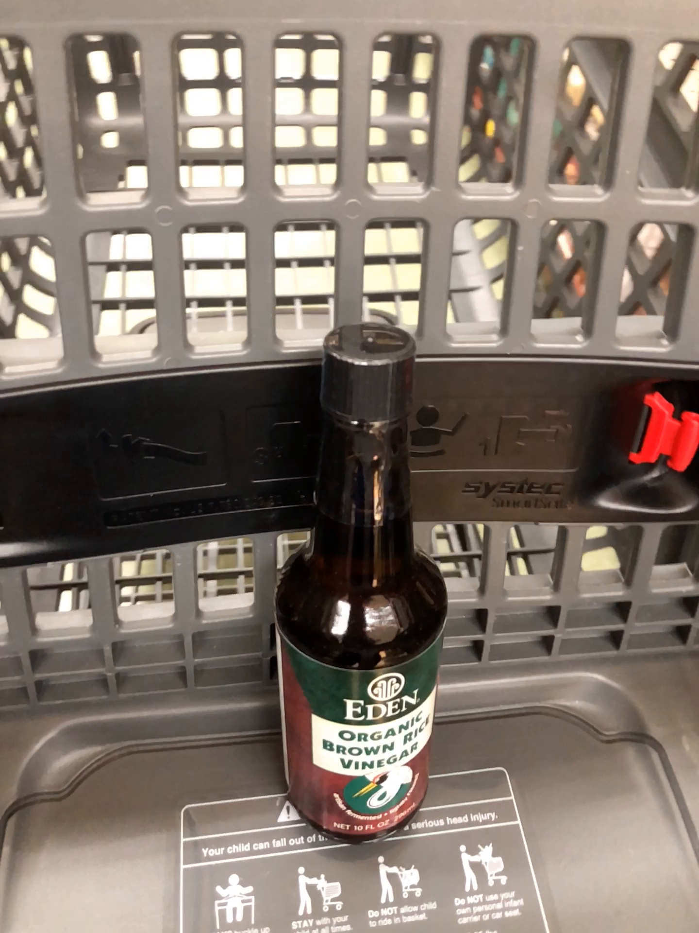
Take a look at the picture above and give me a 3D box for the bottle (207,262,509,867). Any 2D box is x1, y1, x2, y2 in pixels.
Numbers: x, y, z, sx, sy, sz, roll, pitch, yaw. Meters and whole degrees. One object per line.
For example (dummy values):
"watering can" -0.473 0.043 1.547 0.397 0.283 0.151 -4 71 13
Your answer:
"bottle" 0.000 0.038 0.261 0.070 0.190 0.070 -1 30 1
